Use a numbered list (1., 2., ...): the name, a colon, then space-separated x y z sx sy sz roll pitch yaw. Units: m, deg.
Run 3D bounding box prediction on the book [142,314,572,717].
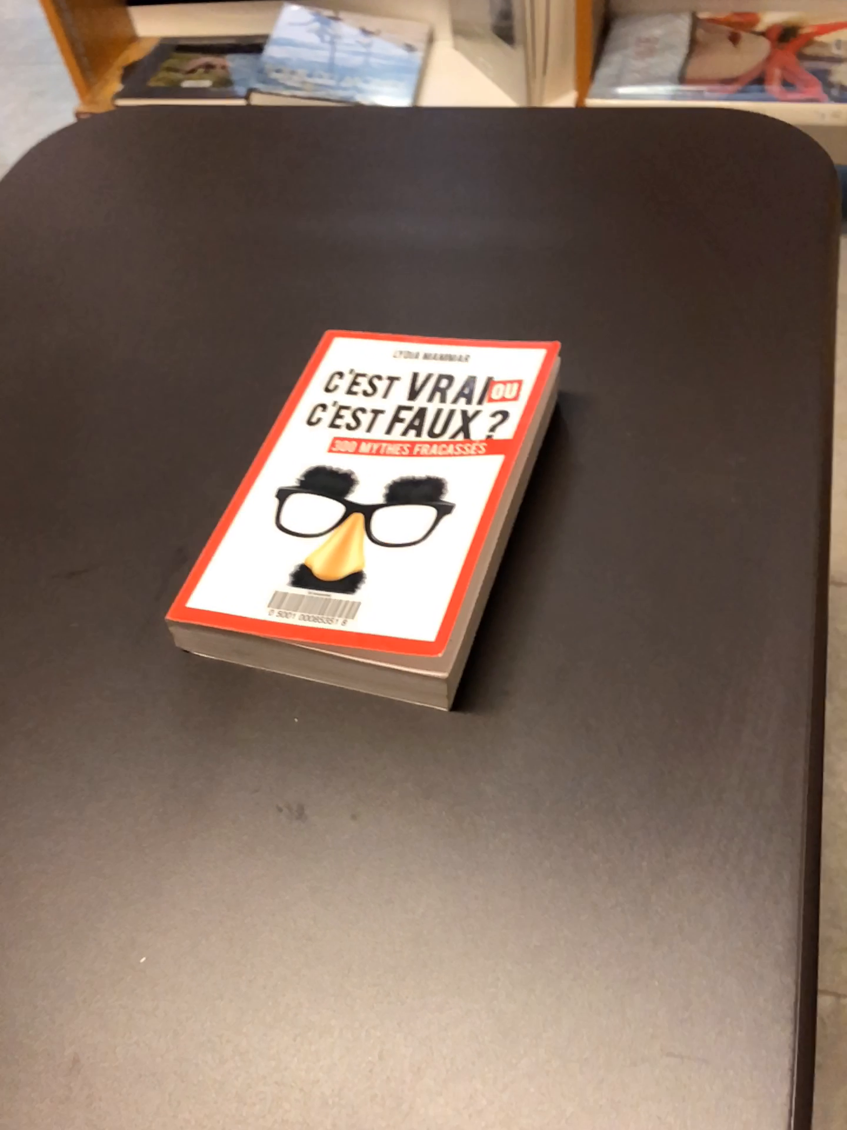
1. book: -0.020 -0.034 0.410 0.126 0.034 0.185 8 55 20
